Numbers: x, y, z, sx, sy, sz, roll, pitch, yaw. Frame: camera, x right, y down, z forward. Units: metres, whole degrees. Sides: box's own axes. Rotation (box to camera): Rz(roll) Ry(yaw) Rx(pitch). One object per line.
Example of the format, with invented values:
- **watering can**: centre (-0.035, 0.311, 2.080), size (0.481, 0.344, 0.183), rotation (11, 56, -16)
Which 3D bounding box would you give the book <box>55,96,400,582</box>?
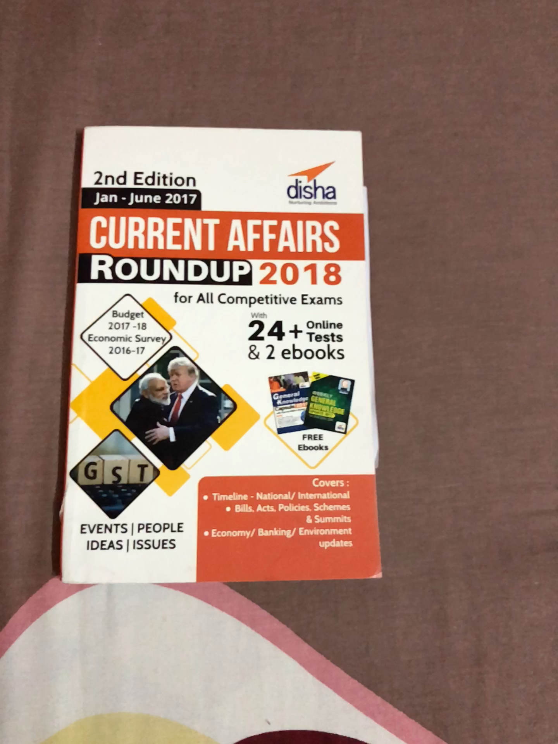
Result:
- **book**: centre (-0.022, -0.019, 0.296), size (0.140, 0.040, 0.220), rotation (0, 78, -3)
